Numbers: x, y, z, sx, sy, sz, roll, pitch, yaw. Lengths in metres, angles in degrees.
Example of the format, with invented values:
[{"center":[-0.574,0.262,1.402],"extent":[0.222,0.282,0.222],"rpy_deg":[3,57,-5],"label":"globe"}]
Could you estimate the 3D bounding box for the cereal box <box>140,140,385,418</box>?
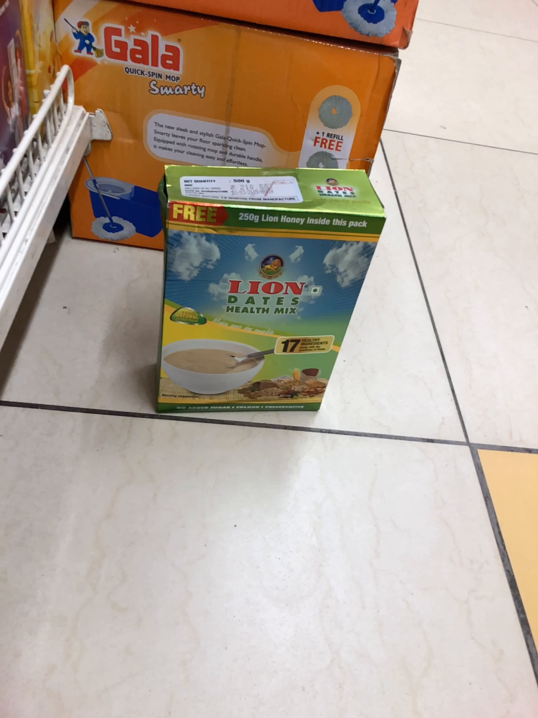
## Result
[{"center":[-0.023,-0.051,0.496],"extent":[0.160,0.228,0.070],"rpy_deg":[0,47,-14],"label":"cereal box"}]
